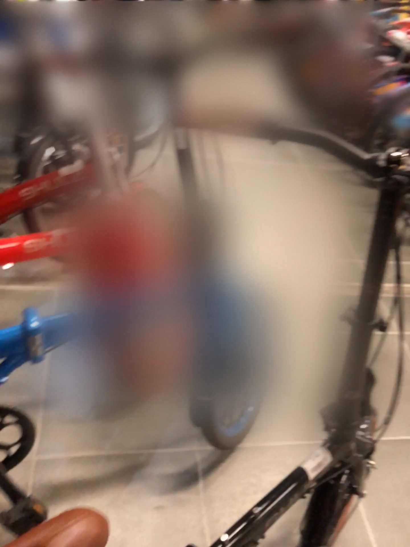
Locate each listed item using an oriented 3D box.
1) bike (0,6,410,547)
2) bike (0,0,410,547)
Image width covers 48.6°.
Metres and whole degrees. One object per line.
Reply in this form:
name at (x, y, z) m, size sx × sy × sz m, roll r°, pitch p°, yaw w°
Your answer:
bike at (-0.019, 0.335, 0.589) m, size 1.278 × 1.057 × 0.565 m, roll -26°, pitch 54°, yaw -36°
bike at (-0.389, 0.014, 0.915) m, size 1.377 × 1.029 × 0.568 m, roll -14°, pitch 47°, yaw -31°
